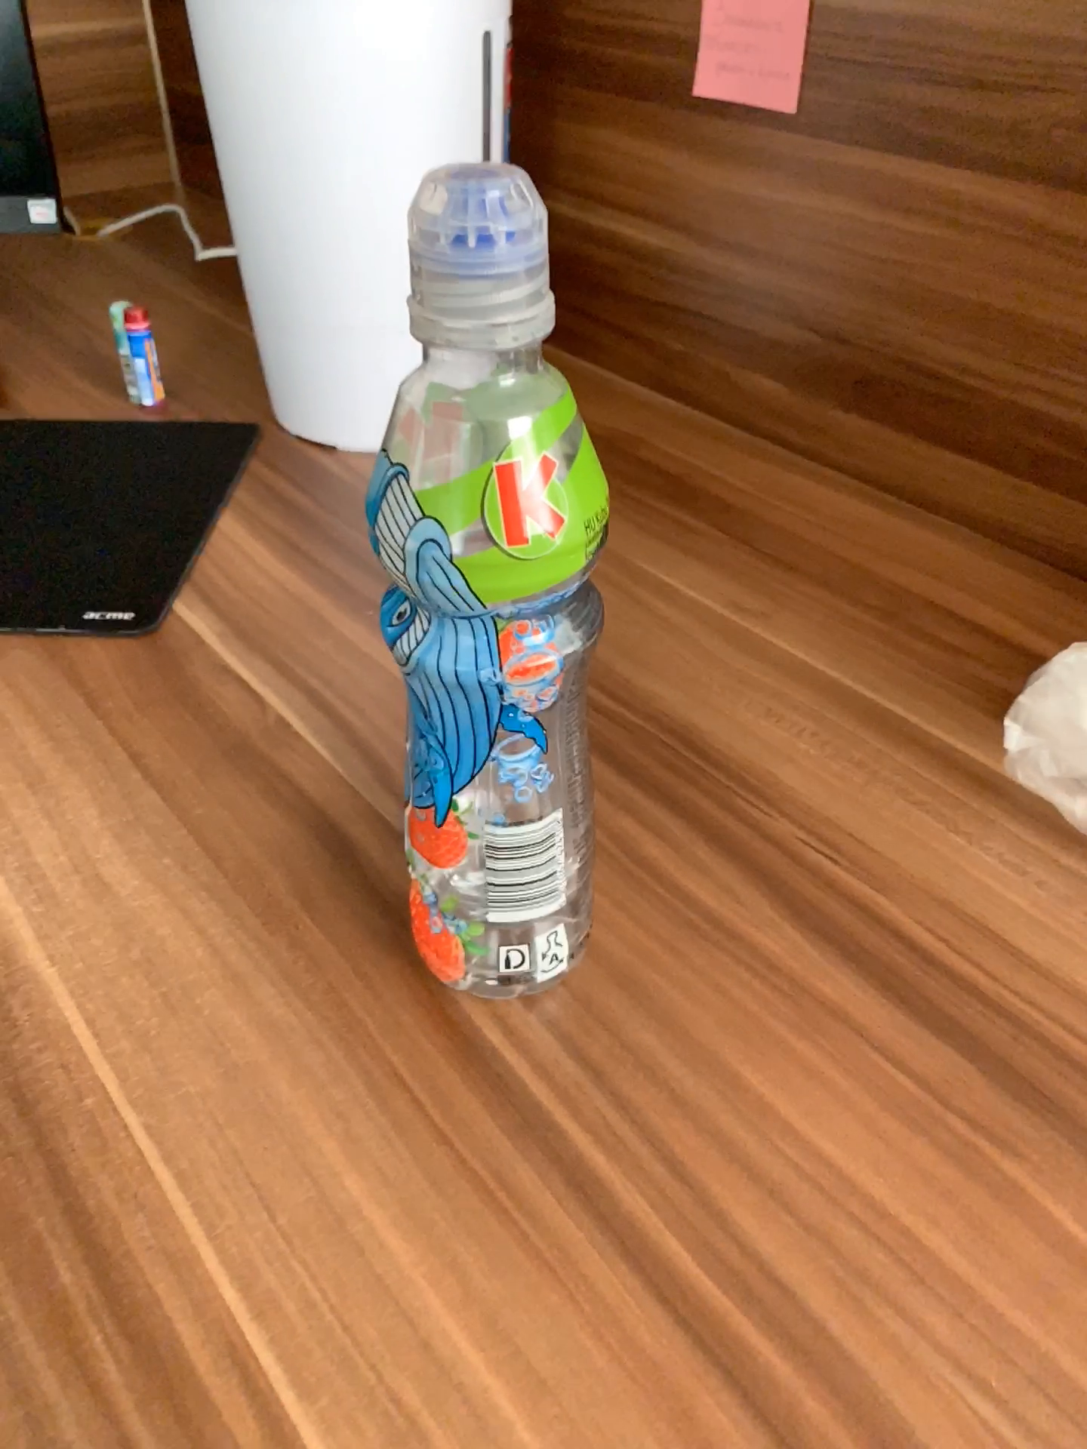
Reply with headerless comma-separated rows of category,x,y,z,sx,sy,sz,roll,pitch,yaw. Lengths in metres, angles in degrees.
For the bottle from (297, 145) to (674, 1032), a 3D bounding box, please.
bottle,-0.016,-0.022,0.315,0.070,0.239,0.070,0,38,0
